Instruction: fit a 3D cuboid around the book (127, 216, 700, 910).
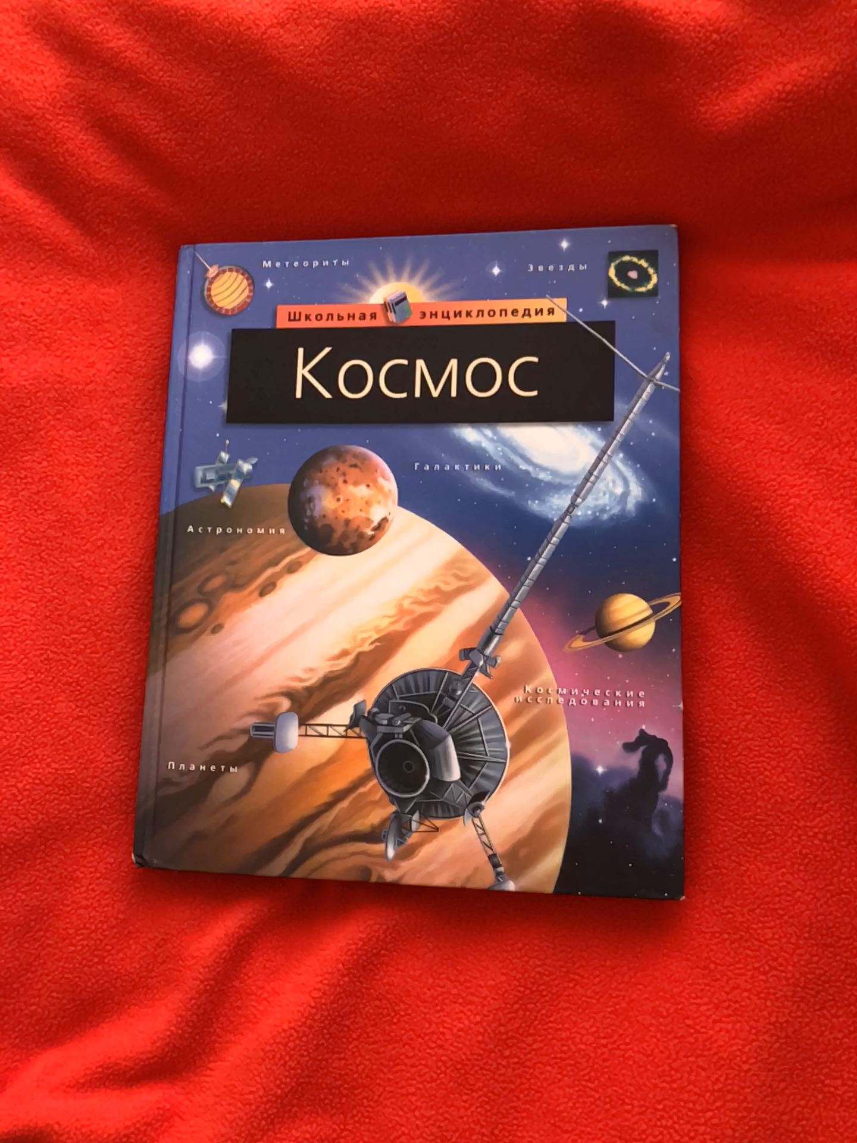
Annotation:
[{"bbox_3d":[-0.005,-0.010,0.415,0.235,0.030,0.284,1,82,8],"label":"book"}]
